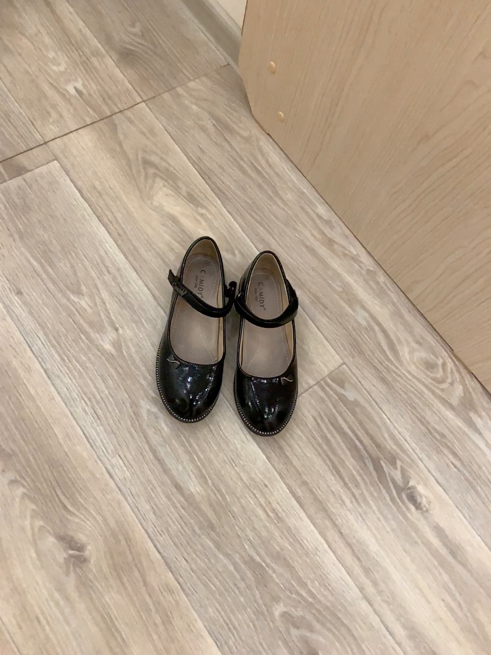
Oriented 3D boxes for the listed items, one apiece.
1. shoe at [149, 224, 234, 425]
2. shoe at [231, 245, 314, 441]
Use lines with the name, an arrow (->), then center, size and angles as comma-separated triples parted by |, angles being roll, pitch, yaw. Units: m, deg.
shoe -> -0.072, -0.003, 0.690 | 0.090, 0.100, 0.250 | 5, 69, -7
shoe -> 0.031, 0.023, 0.698 | 0.090, 0.100, 0.250 | 3, 70, -8
